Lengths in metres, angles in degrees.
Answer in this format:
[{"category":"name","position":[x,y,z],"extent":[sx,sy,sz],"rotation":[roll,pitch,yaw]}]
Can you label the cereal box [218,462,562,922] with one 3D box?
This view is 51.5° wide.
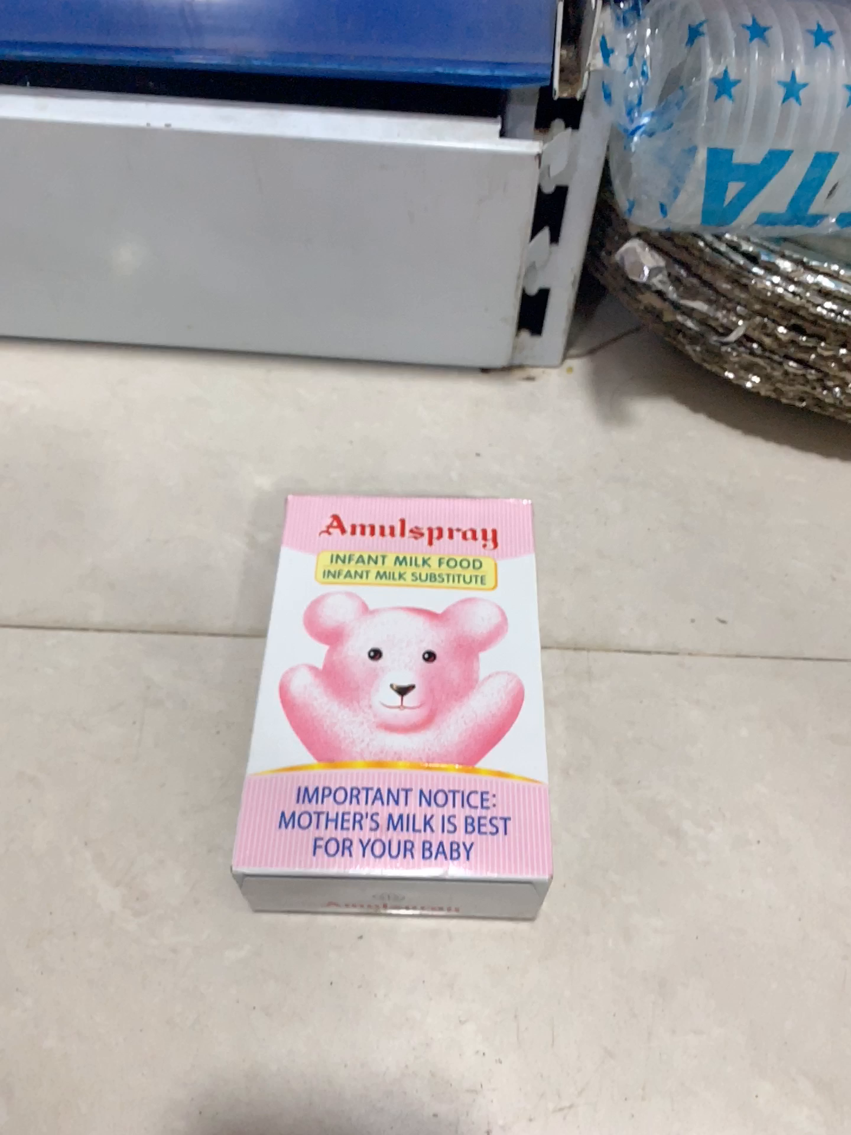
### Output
[{"category":"cereal box","position":[-0.008,0.036,0.291],"extent":[0.090,0.050,0.140],"rotation":[2,55,0]}]
